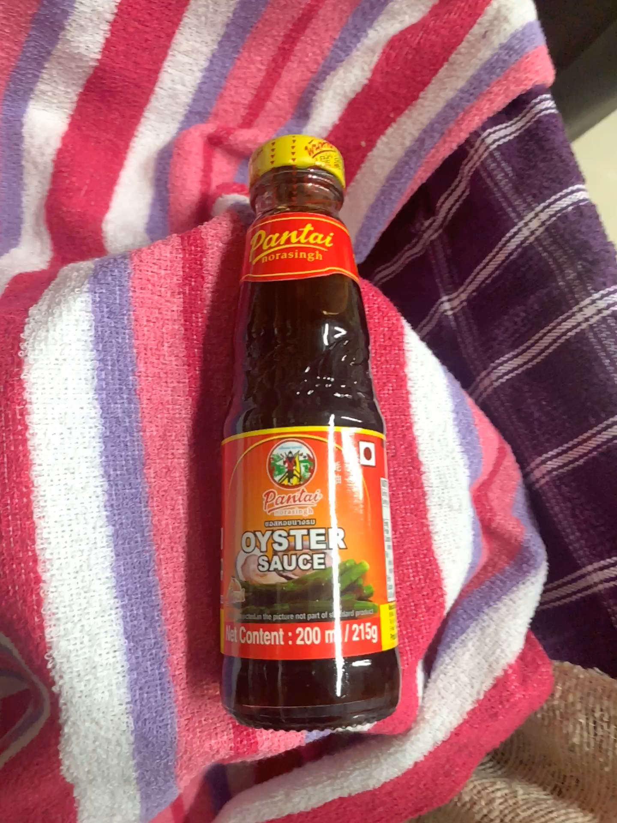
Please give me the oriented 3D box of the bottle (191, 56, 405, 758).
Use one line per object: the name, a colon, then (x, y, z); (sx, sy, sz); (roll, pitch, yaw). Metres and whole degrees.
bottle: (-0.002, -0.006, 0.195); (0.050, 0.050, 0.190); (-3, 76, 6)
